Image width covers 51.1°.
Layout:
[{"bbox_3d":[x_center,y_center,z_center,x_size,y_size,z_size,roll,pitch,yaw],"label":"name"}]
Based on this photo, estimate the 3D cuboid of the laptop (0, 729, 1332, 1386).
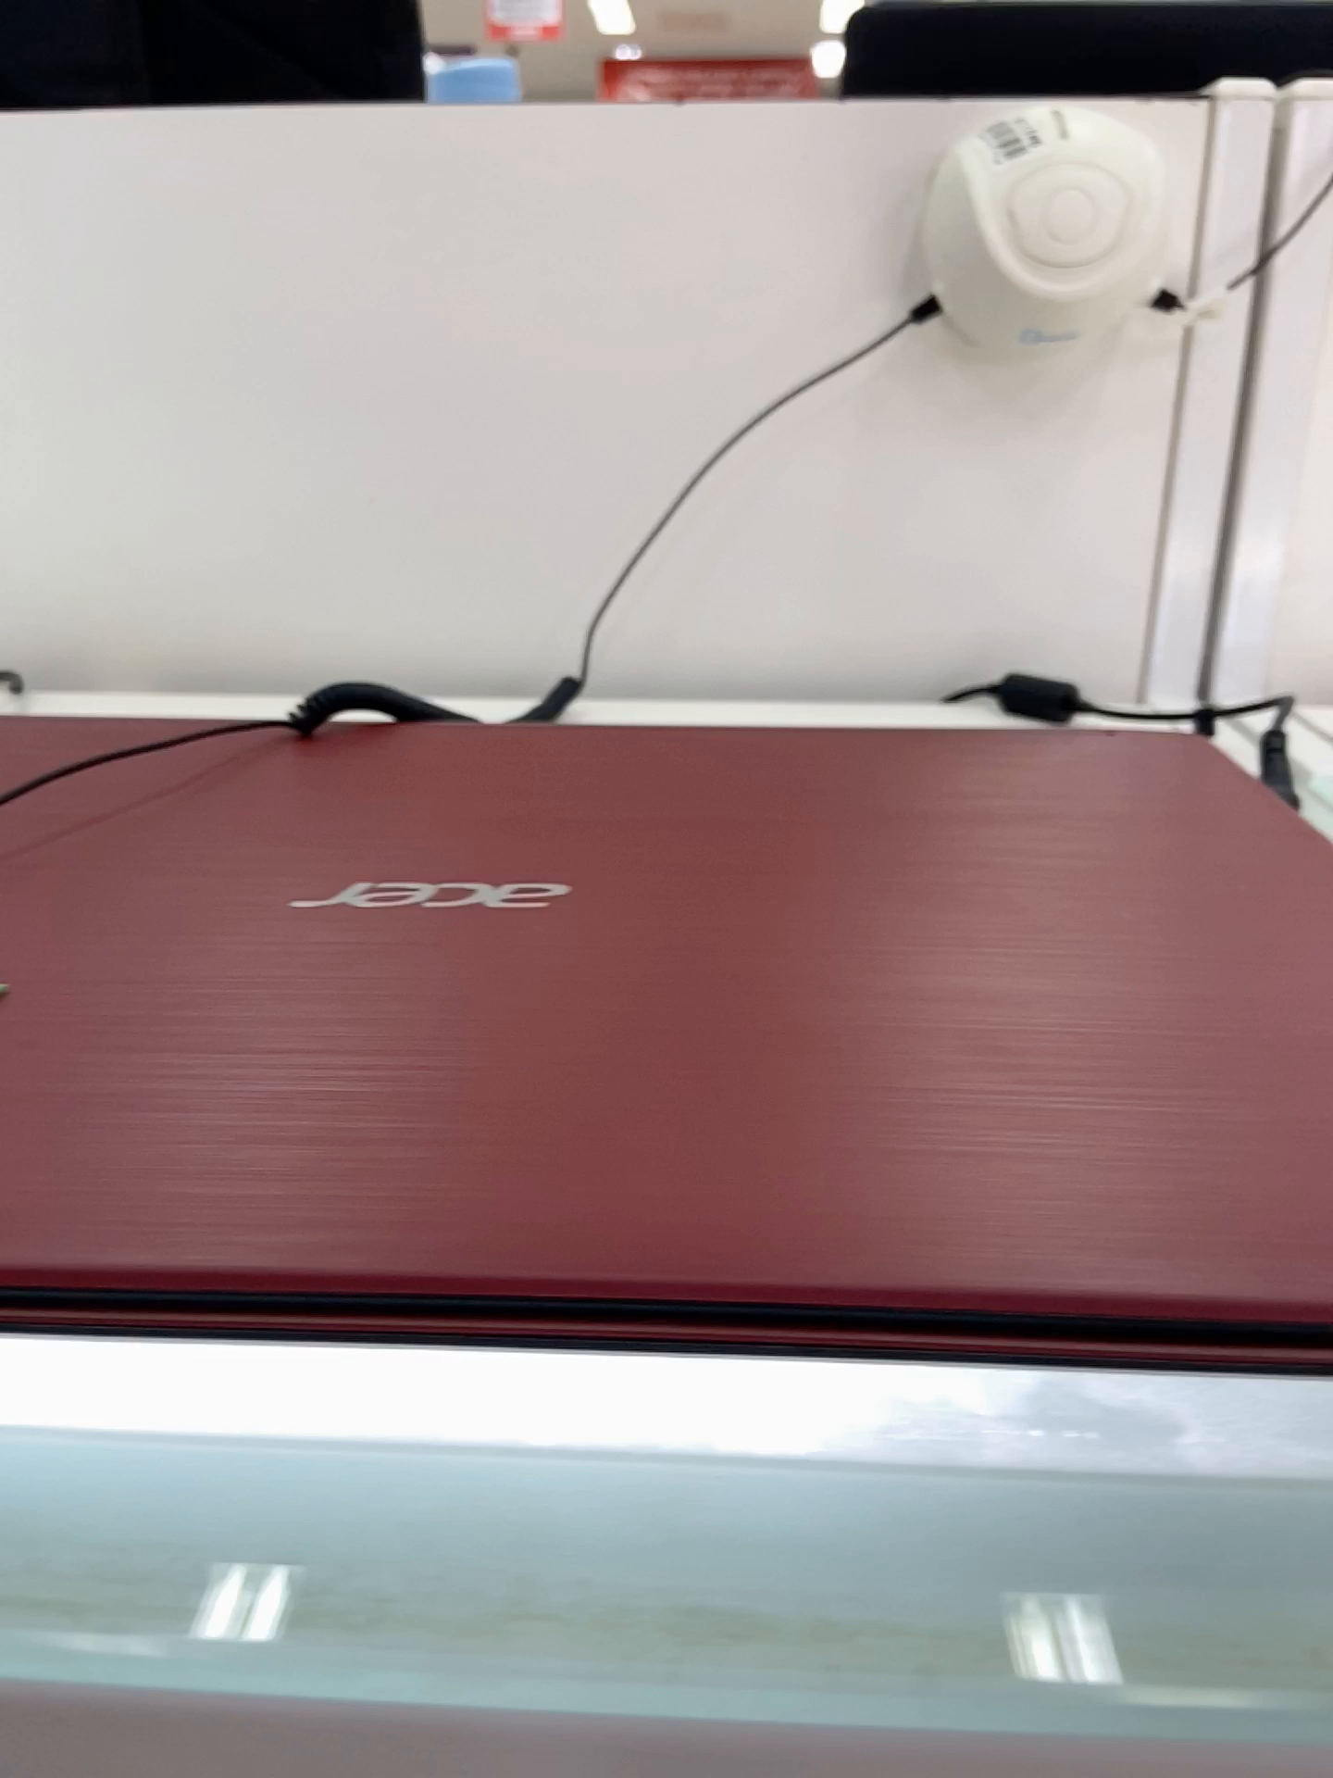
[{"bbox_3d":[-0.043,0.004,0.289,0.367,0.006,0.263,1,20,3],"label":"laptop"}]
